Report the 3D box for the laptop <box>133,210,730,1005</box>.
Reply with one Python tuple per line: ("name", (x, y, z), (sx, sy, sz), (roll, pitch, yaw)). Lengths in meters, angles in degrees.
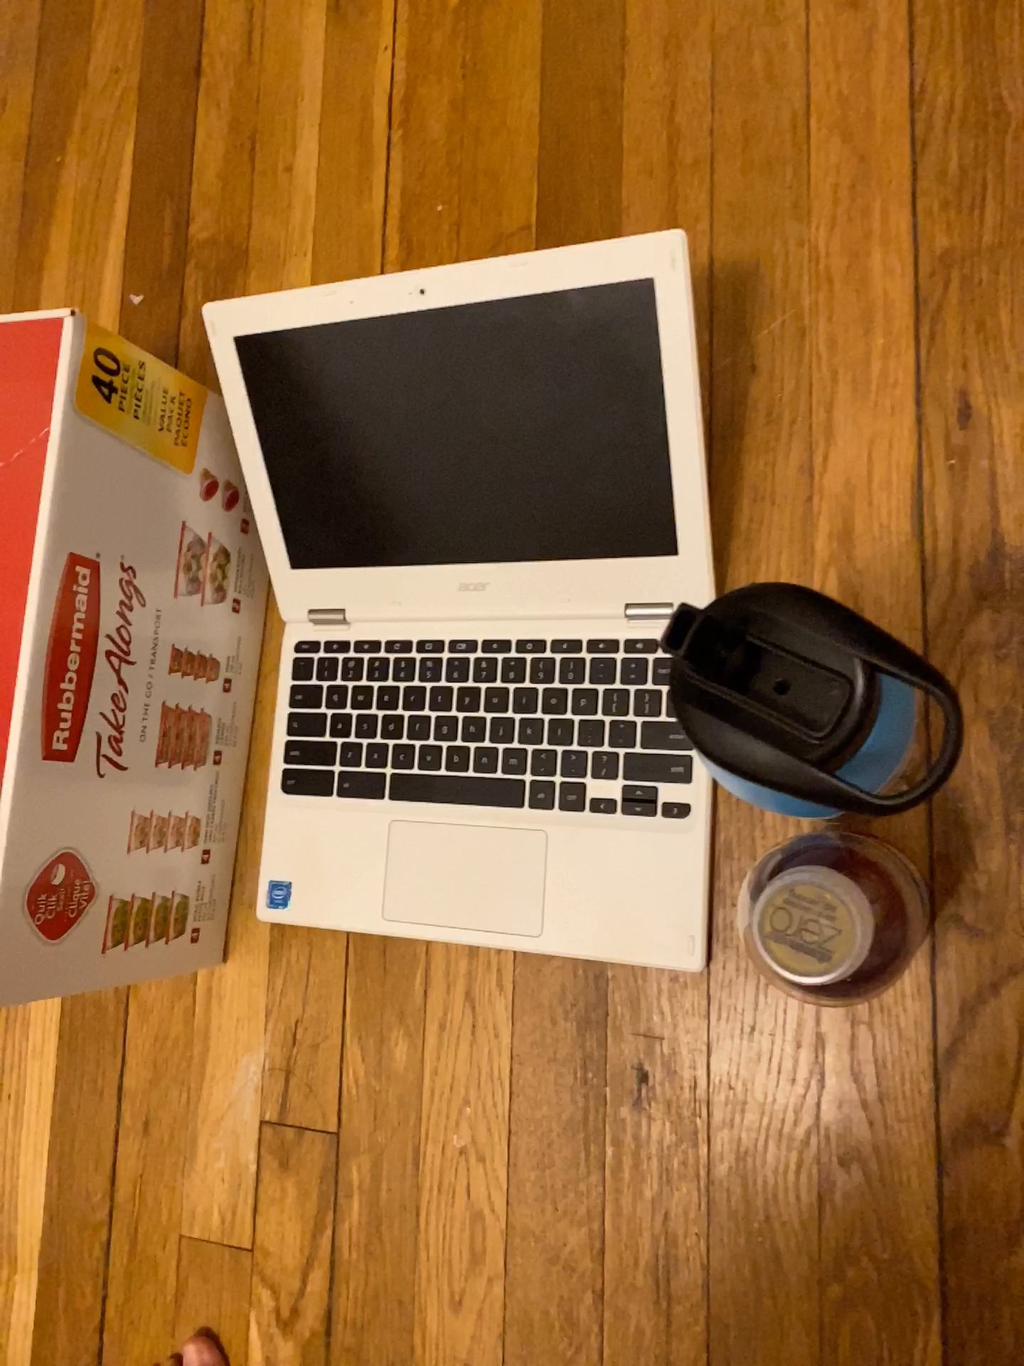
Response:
("laptop", (-0.042, -0.034, 0.582), (0.289, 0.109, 0.364), (1, 83, 24))
